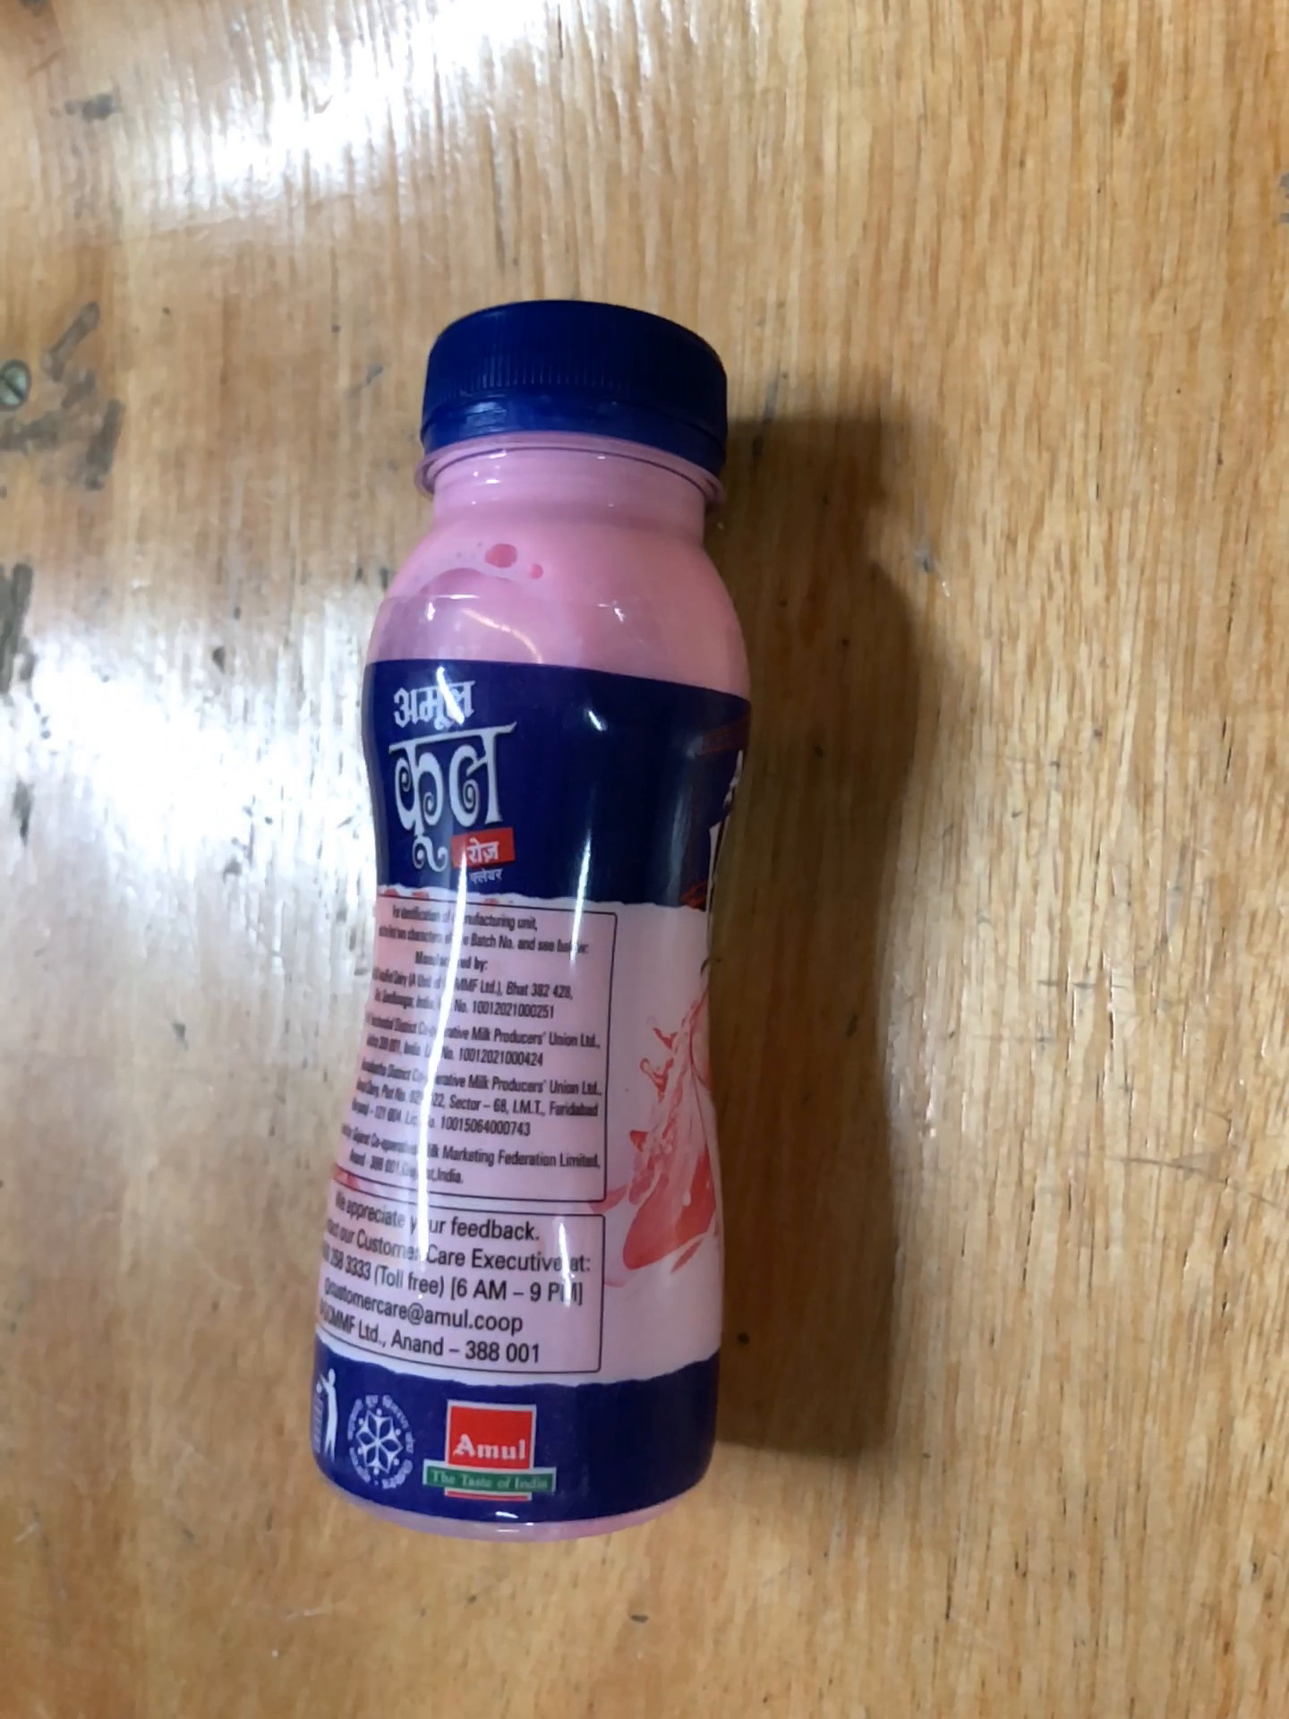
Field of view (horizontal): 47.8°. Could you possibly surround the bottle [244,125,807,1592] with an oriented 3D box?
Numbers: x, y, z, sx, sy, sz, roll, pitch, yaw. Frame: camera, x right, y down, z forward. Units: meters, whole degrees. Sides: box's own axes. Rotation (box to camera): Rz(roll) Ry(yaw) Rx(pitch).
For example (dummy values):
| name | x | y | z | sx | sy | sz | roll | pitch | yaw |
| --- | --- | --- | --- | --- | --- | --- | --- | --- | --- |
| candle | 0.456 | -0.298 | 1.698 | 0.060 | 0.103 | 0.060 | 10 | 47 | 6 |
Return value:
| name | x | y | z | sx | sy | sz | roll | pitch | yaw |
| --- | --- | --- | --- | --- | --- | --- | --- | --- | --- |
| bottle | -0.013 | -0.001 | 0.178 | 0.050 | 0.040 | 0.150 | 1 | 88 | 27 |
